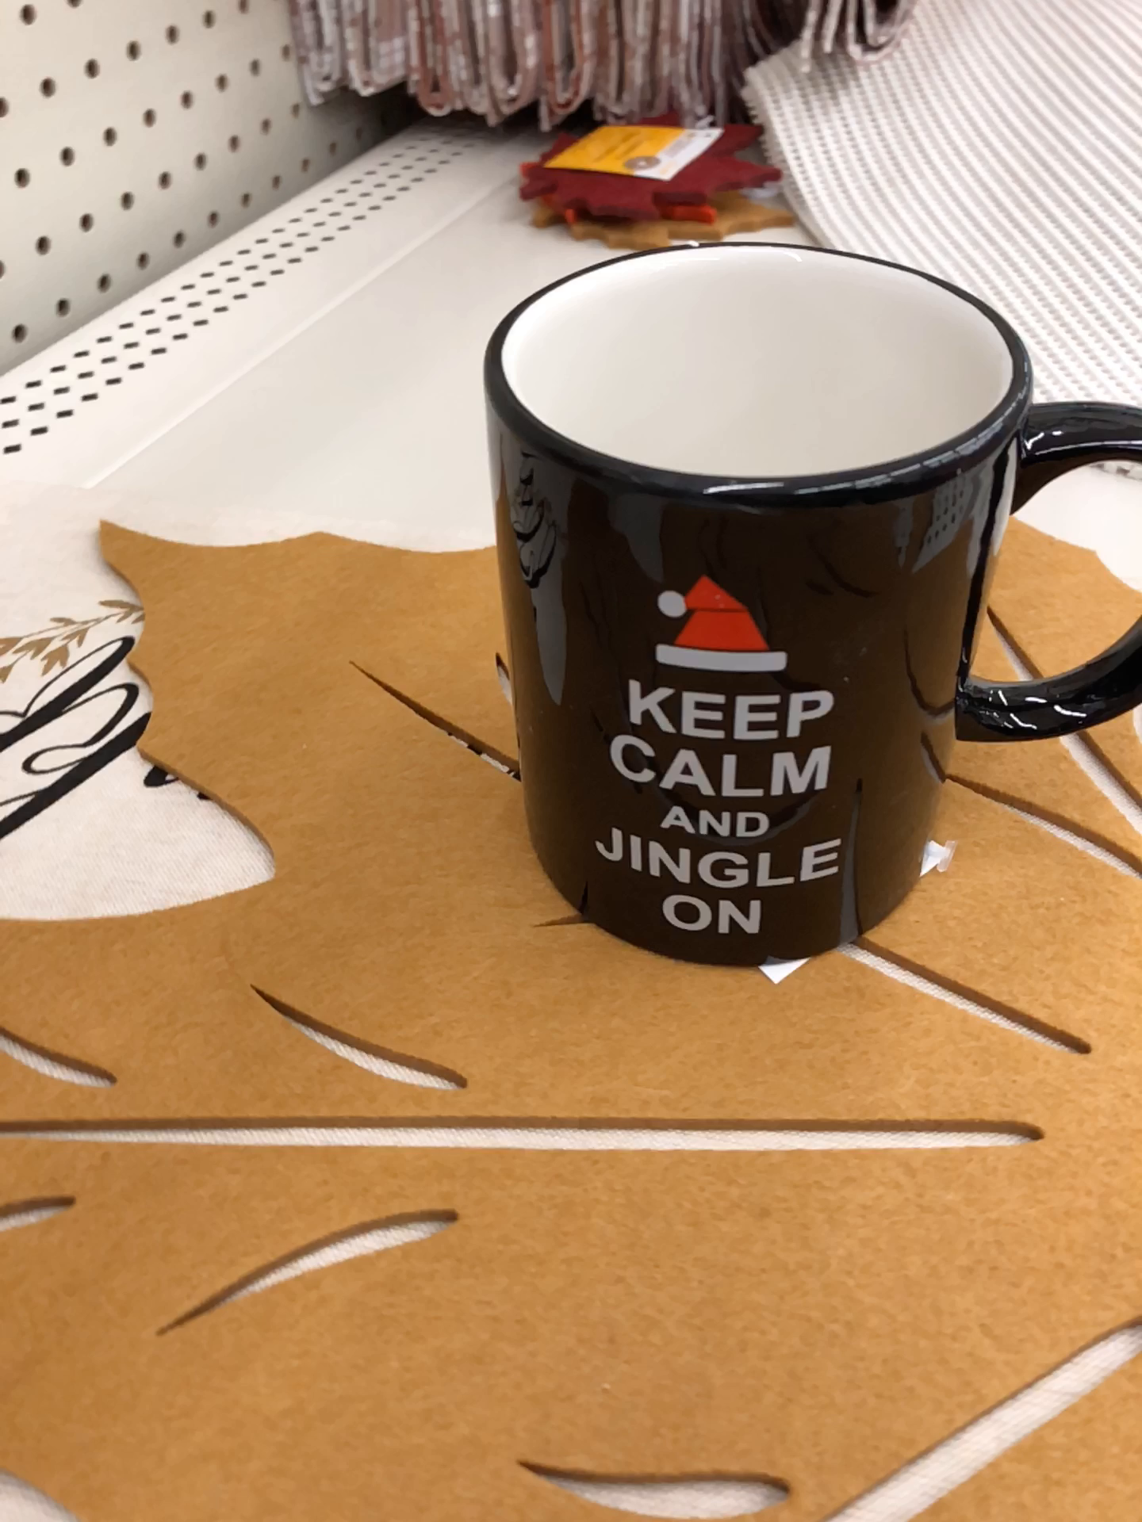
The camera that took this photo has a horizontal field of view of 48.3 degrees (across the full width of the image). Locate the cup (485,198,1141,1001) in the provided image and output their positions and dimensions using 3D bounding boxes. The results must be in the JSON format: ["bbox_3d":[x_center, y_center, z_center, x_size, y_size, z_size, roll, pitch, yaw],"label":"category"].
[{"bbox_3d":[0.054,-0.030,0.240,0.130,0.110,0.090,-4,43,-1],"label":"cup"}]
